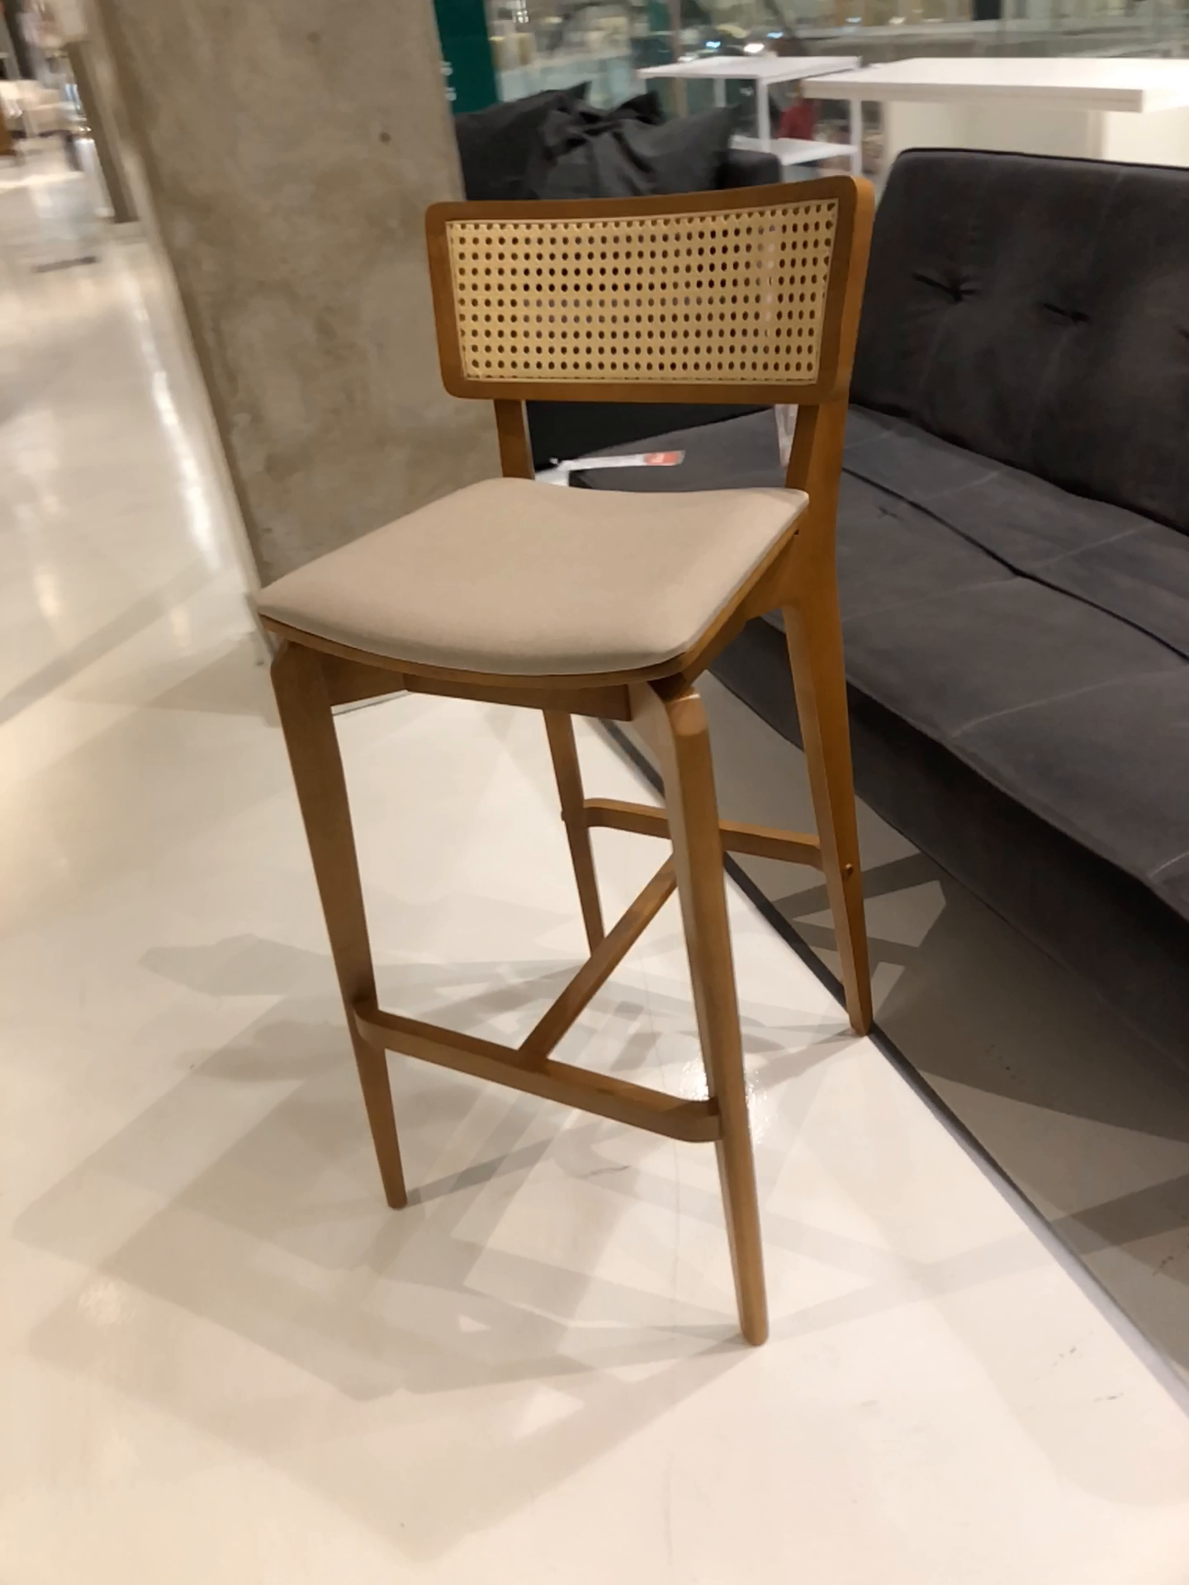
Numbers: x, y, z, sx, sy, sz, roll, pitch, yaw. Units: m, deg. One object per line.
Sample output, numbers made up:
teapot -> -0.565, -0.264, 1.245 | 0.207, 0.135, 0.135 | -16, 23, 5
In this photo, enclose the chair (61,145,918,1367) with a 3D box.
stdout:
chair -> 0.002, -0.042, 1.275 | 0.471, 0.962, 0.523 | 9, 35, 28
